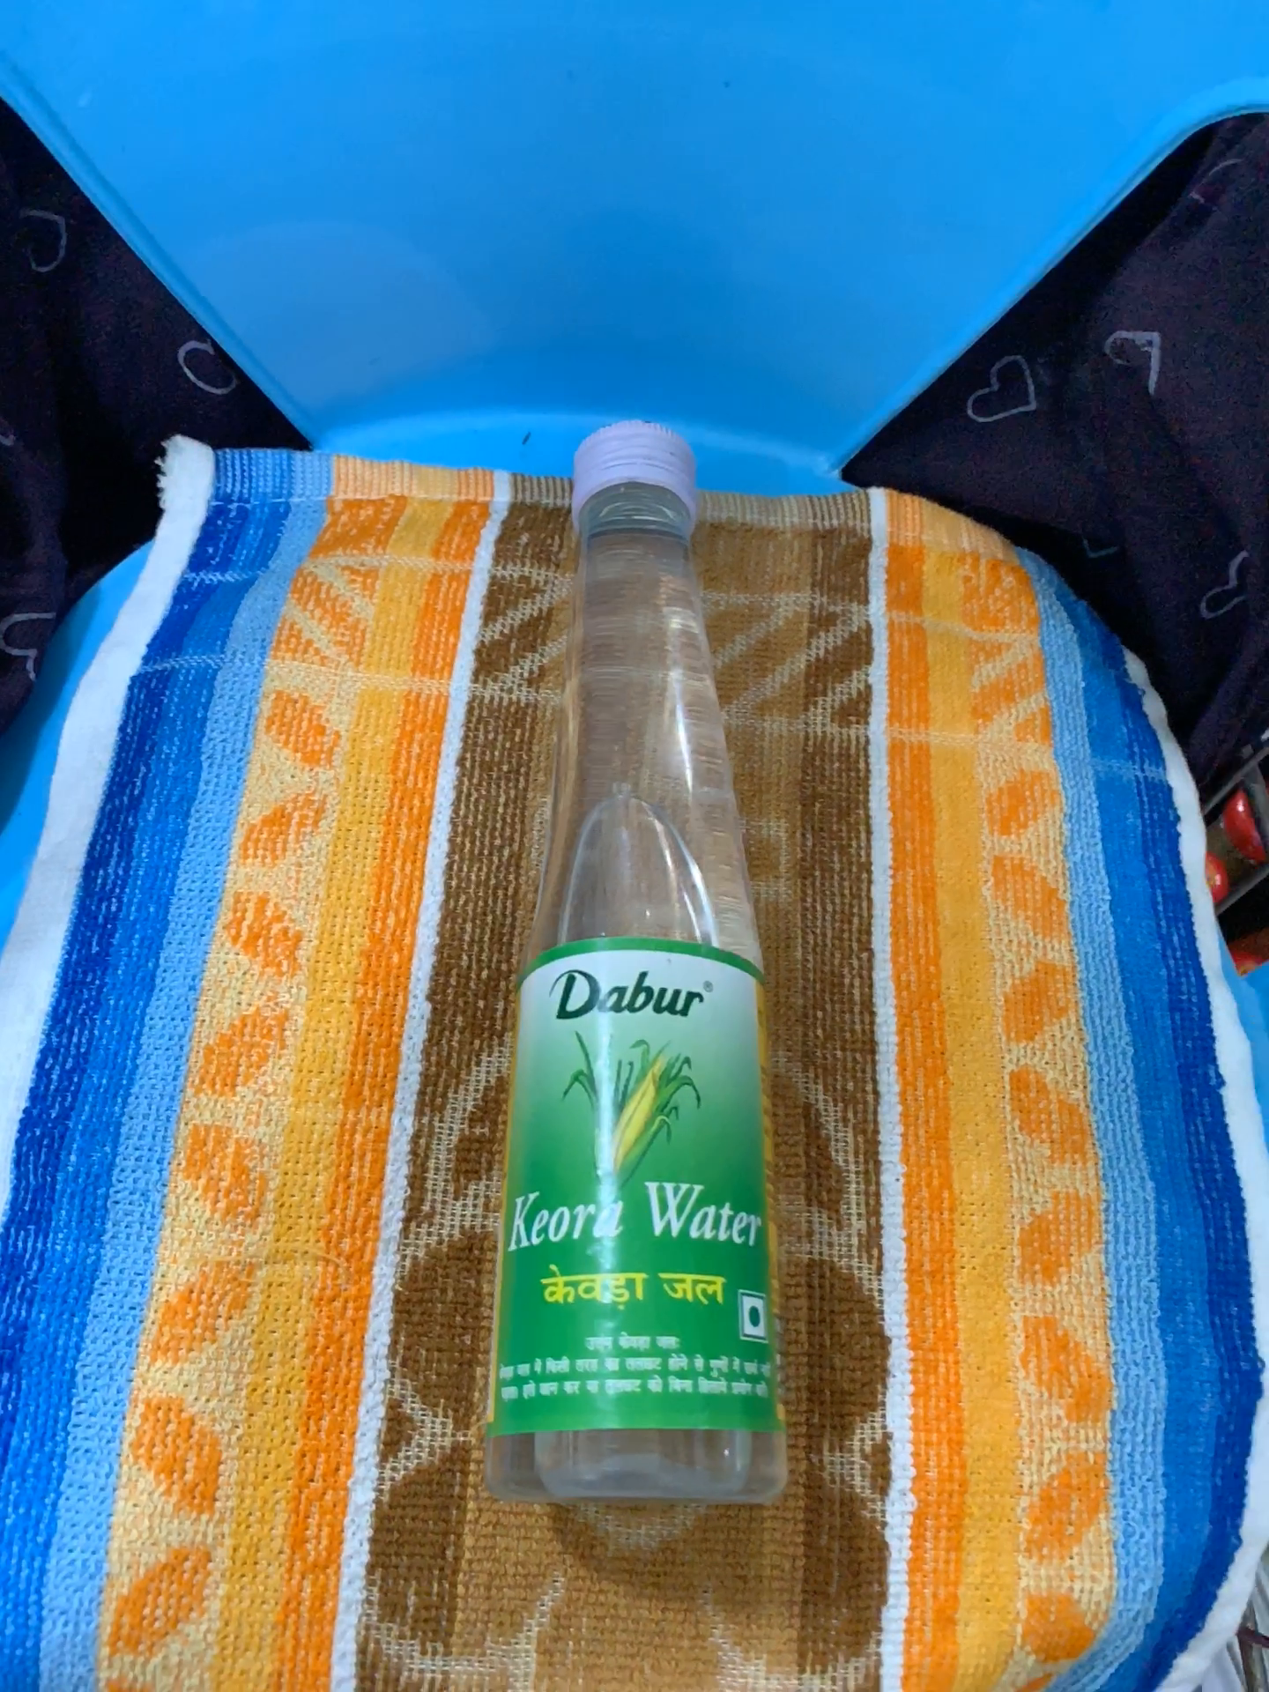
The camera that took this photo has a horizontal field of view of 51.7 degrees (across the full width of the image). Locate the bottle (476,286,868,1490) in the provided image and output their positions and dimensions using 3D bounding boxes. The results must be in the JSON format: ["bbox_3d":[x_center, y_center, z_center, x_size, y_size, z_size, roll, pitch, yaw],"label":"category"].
[{"bbox_3d":[0.003,-0.001,0.228,0.050,0.050,0.200,0,68,-2],"label":"bottle"}]
